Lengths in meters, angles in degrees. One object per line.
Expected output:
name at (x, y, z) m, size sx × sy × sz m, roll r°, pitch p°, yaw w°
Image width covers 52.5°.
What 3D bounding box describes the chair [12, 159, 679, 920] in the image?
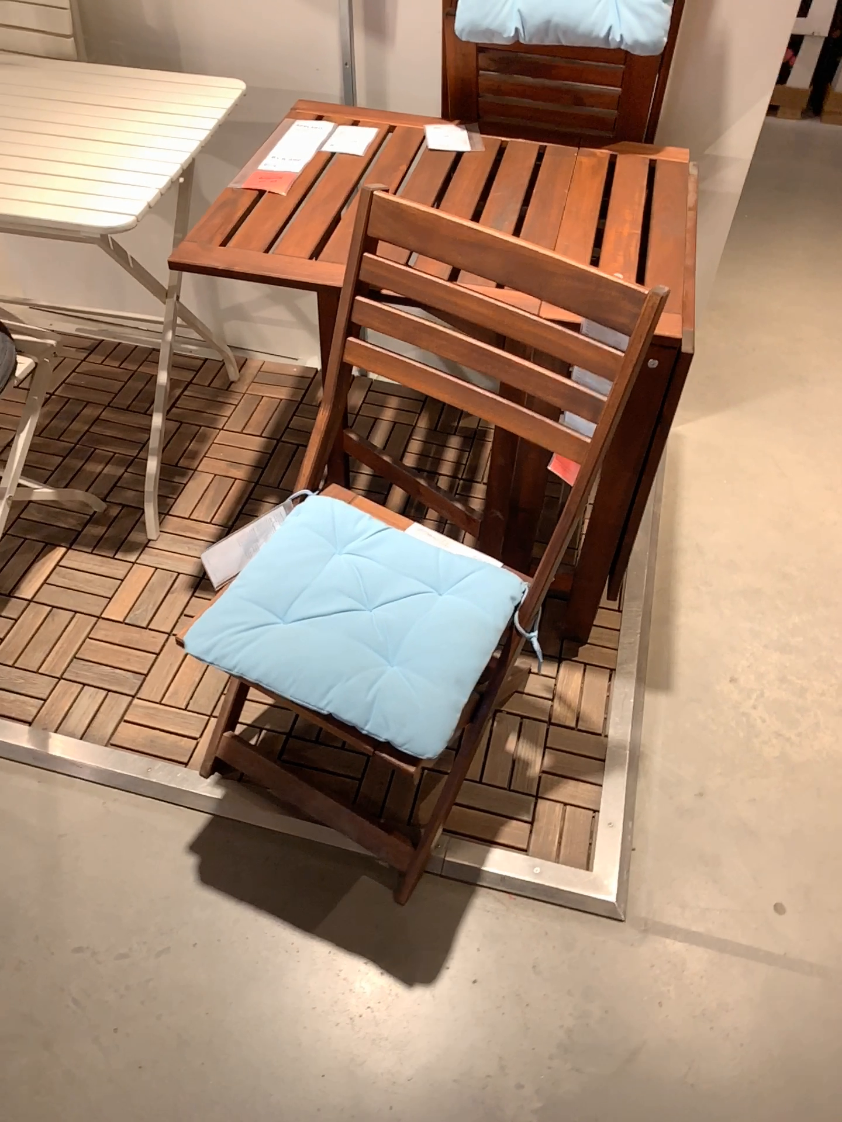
chair at (-0.062, -0.003, 1.167) m, size 0.471 × 0.777 × 0.521 m, roll 26°, pitch 52°, yaw 20°
